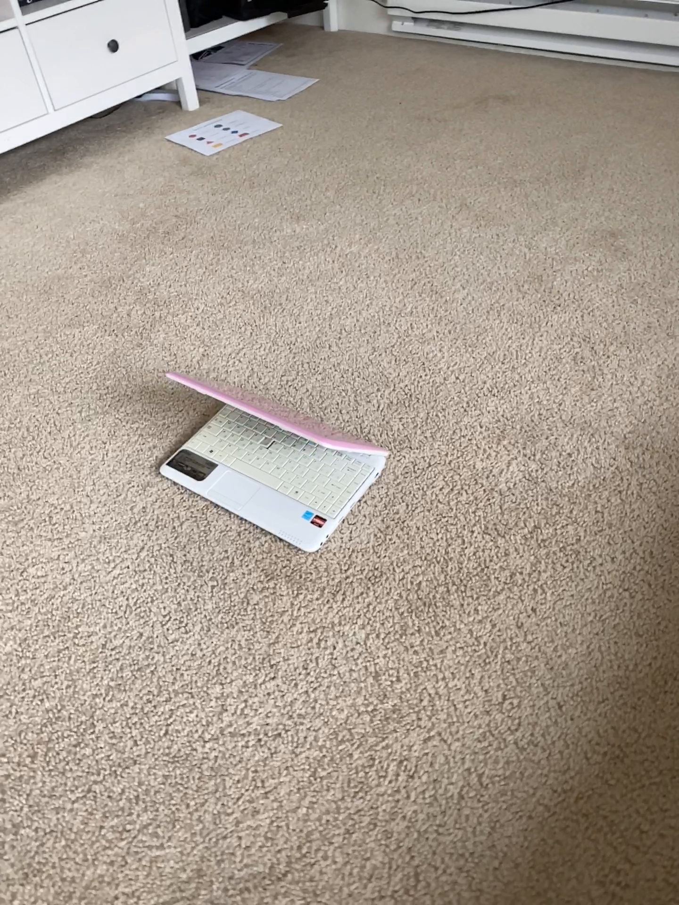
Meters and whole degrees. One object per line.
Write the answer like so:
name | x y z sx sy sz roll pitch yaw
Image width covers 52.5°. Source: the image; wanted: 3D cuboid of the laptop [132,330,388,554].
laptop | -0.109 -0.028 0.978 0.297 0.122 0.198 23 55 28
